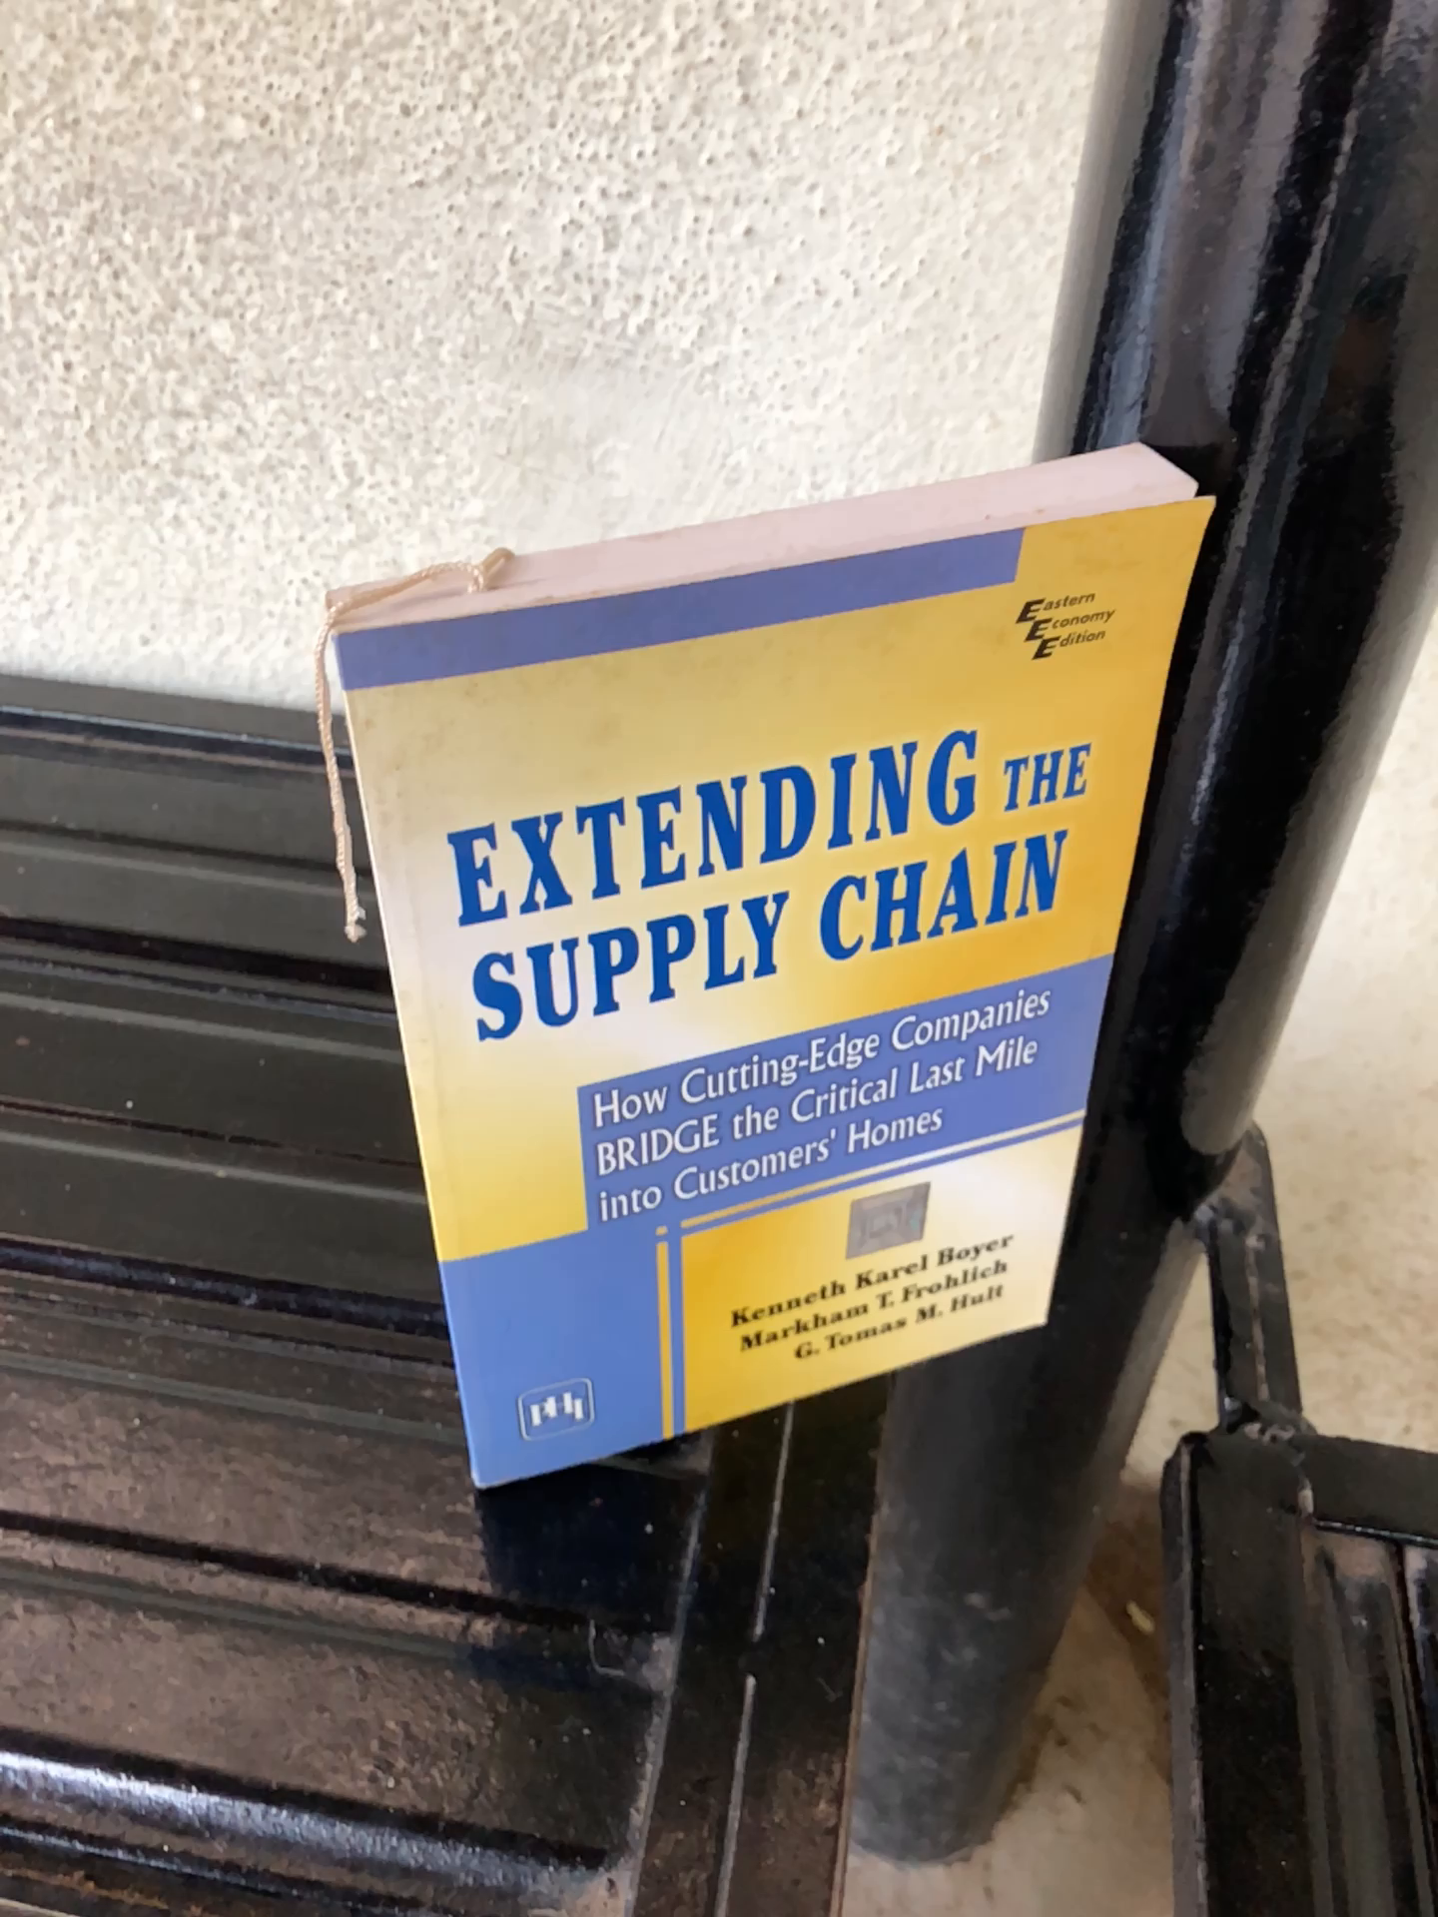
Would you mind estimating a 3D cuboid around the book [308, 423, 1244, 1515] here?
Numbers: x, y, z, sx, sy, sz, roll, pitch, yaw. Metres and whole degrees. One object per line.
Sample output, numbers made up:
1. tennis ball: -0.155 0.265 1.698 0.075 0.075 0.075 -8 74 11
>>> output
1. book: 0.009 0.016 0.329 0.150 0.229 0.030 -11 40 -16
